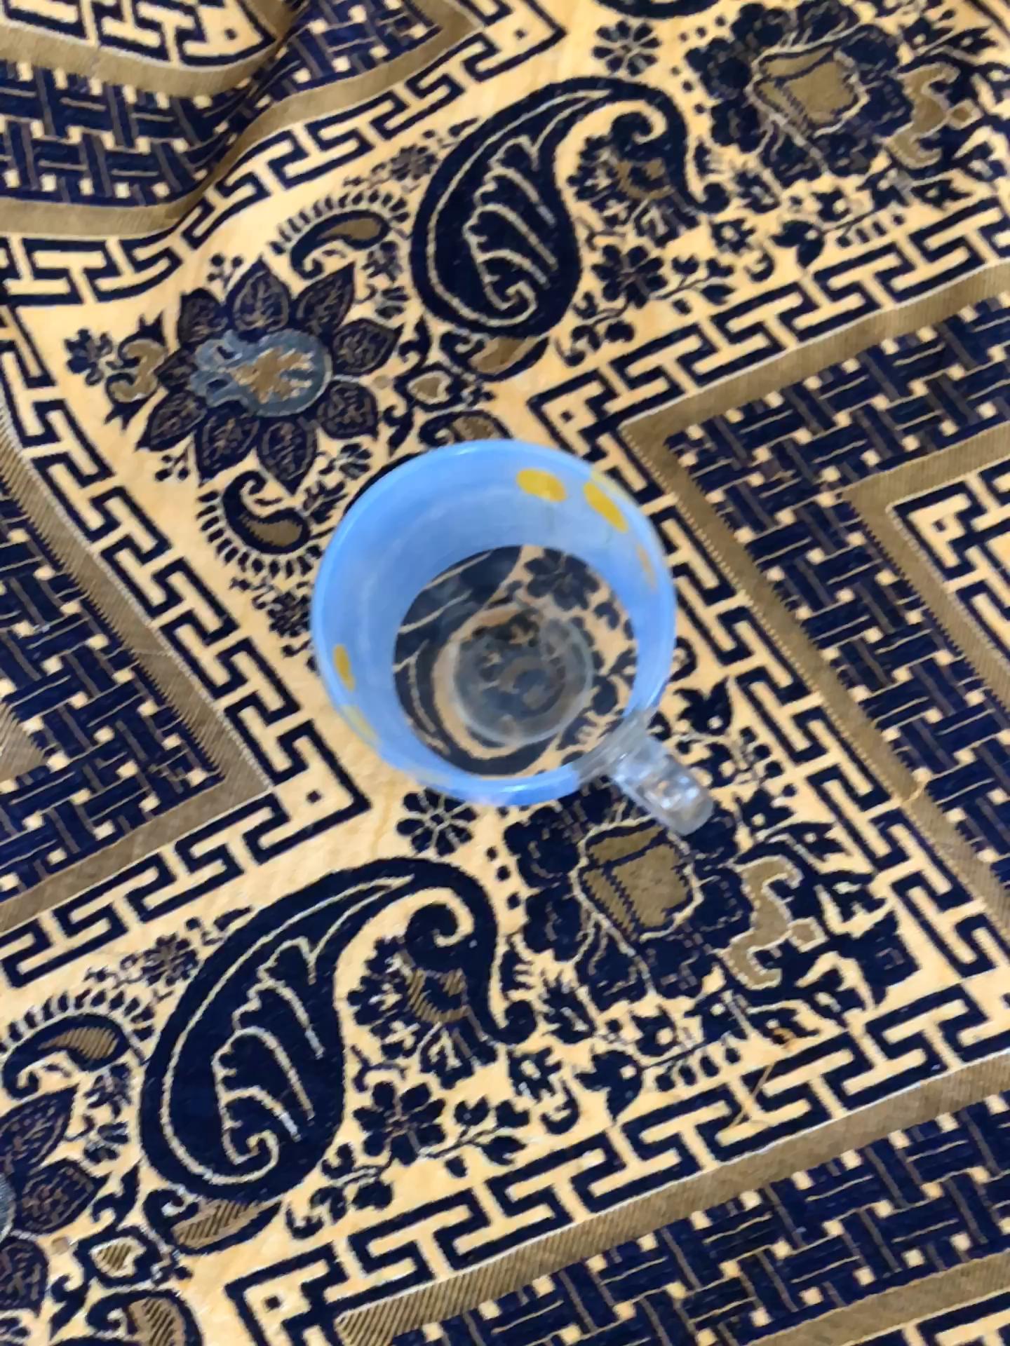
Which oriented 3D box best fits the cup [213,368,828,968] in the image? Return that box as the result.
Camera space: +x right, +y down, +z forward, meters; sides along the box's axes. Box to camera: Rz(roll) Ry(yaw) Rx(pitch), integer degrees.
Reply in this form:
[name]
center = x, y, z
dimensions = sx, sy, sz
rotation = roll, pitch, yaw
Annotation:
[cup]
center = 0.004, 0.001, 0.349
dimensions = 0.108, 0.072, 0.138
rotation = -43, 76, -8
